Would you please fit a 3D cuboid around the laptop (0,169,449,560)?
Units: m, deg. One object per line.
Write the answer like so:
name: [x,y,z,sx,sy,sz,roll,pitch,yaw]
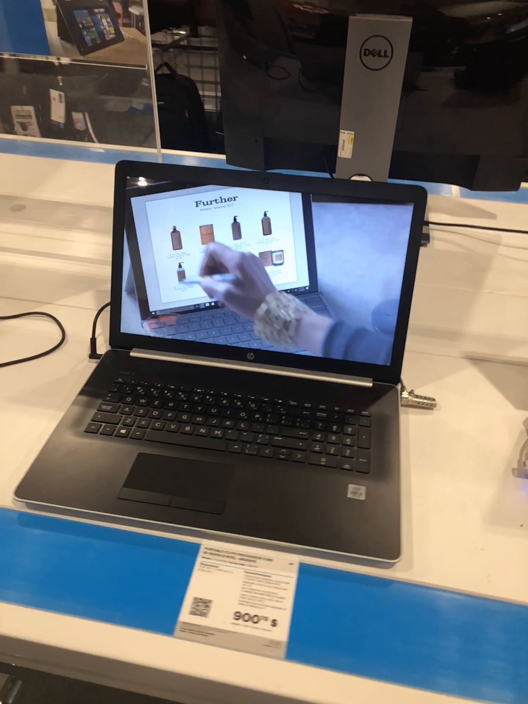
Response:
laptop: [-0.036,-0.023,0.686,0.411,0.242,0.382,7,36,8]
